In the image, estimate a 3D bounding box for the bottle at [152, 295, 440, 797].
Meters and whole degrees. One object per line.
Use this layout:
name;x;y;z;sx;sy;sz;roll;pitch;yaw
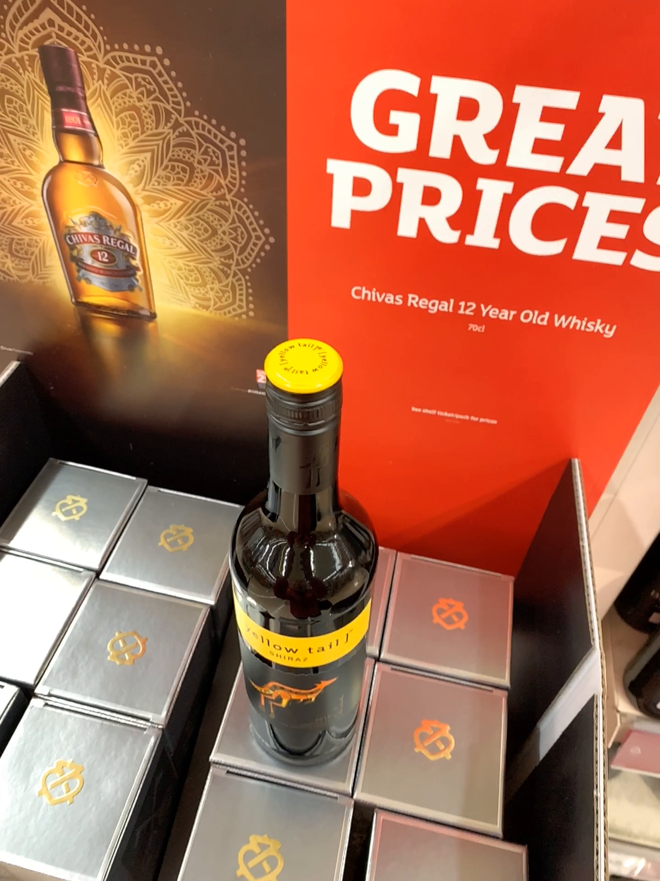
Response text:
bottle;-0.013;0.084;0.347;0.086;0.307;0.082;2;47;-2
